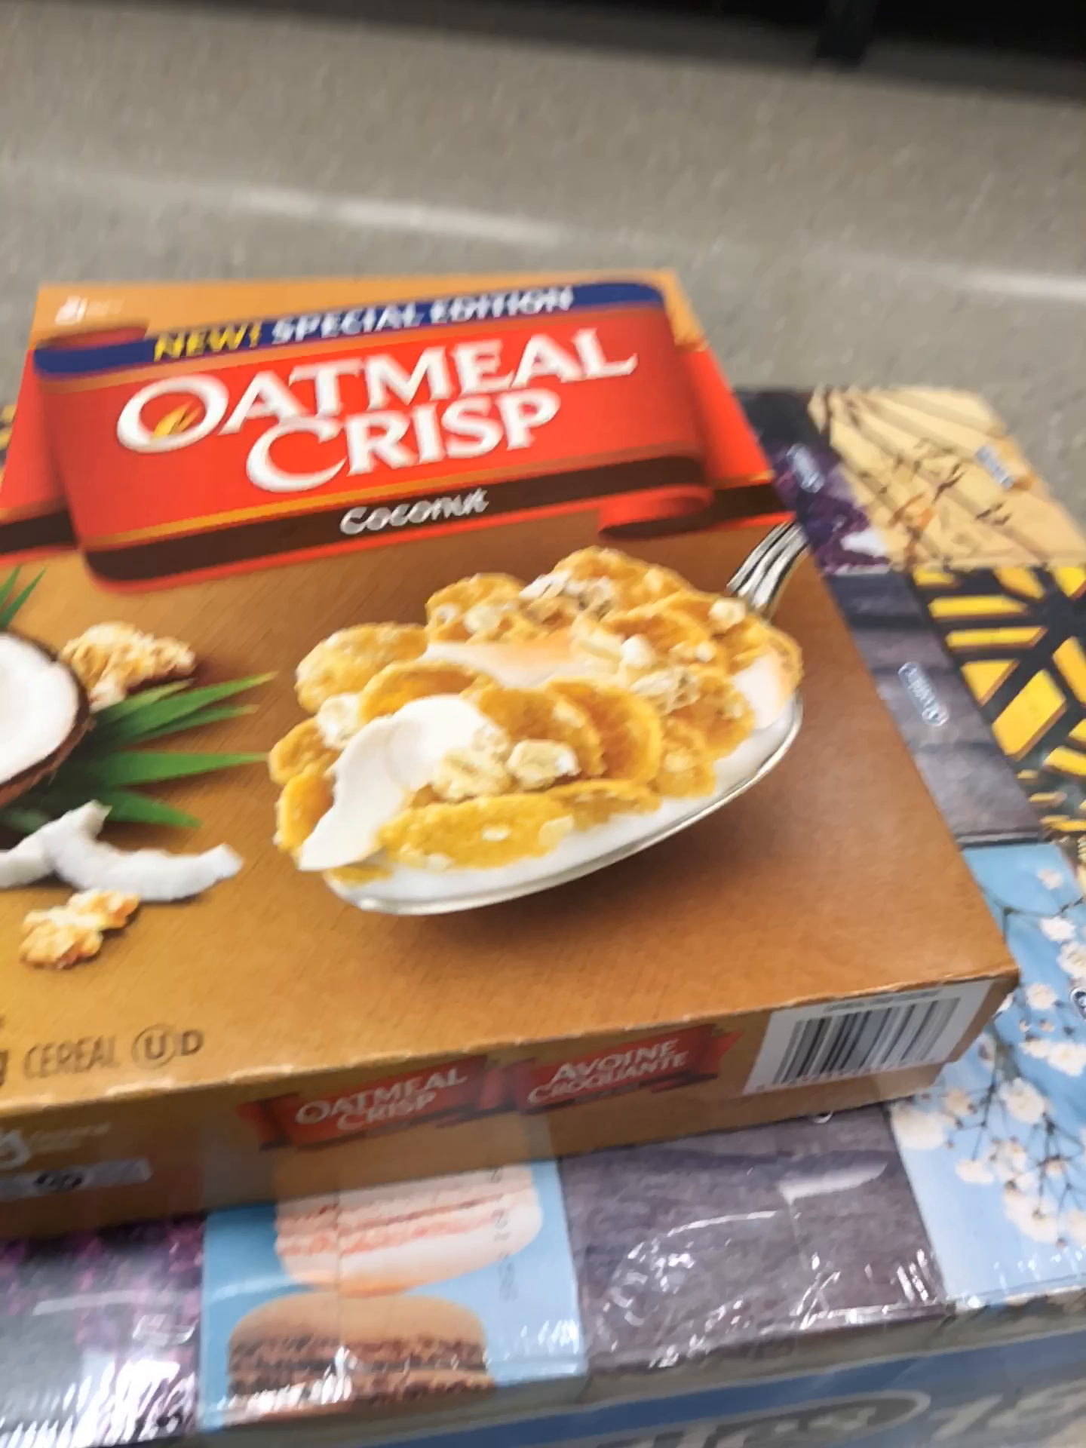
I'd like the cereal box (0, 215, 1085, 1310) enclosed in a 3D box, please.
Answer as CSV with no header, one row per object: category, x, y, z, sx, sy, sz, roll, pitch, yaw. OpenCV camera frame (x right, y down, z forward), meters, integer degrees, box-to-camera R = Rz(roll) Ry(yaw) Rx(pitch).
cereal box,-0.036,-0.033,0.302,0.210,0.060,0.291,-6,44,-6
